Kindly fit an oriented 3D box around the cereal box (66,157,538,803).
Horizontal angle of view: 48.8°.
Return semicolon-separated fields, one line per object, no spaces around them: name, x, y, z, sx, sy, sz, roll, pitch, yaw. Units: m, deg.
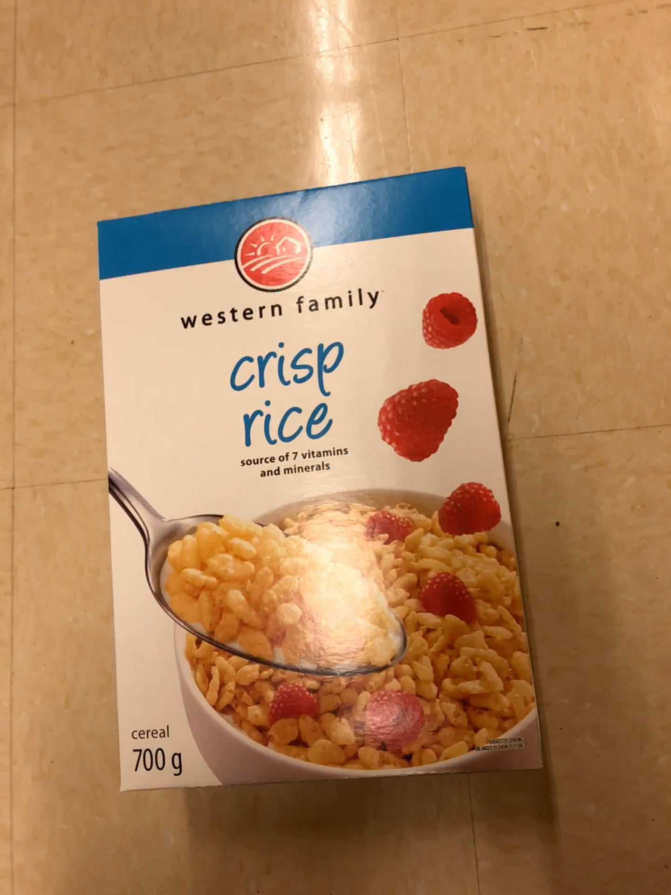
cereal box;-0.026;0.018;0.428;0.230;0.080;0.320;-6;79;8
